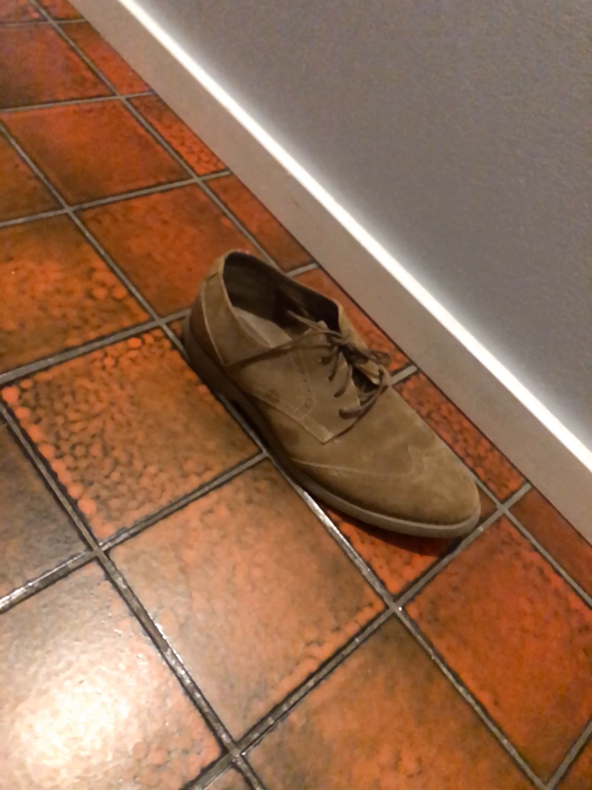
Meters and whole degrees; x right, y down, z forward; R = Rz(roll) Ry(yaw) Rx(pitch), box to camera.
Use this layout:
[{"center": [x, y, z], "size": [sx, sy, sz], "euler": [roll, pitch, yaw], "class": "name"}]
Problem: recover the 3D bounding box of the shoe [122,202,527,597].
[{"center": [0.013, -0.006, 0.525], "size": [0.300, 0.100, 0.120], "euler": [43, 50, 12], "class": "shoe"}]
